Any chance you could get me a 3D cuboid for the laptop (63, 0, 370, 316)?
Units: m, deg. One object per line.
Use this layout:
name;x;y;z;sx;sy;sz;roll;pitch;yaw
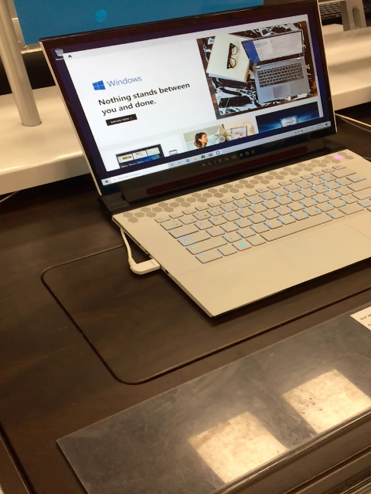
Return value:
laptop;0.123;-0.137;0.594;0.380;0.213;0.314;-22;47;-18
